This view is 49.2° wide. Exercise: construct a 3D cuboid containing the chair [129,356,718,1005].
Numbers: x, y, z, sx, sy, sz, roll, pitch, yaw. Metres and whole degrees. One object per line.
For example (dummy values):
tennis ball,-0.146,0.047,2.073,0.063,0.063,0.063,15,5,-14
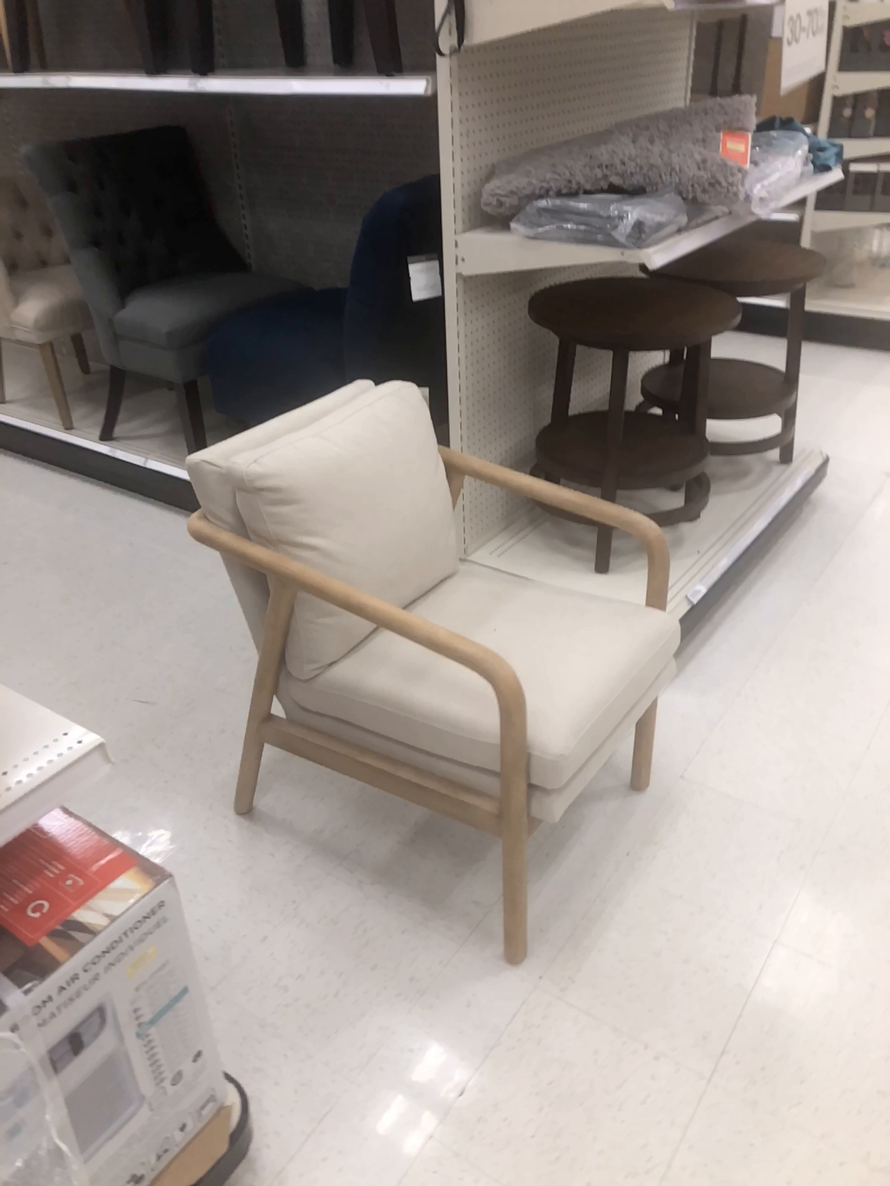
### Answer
chair,-0.019,0.095,1.781,0.761,0.806,0.582,18,36,31
